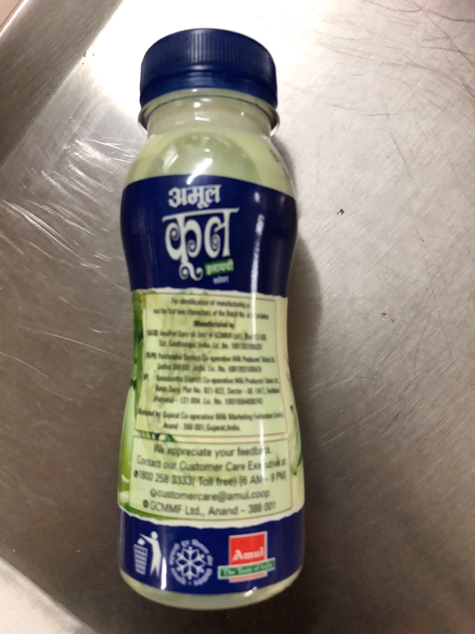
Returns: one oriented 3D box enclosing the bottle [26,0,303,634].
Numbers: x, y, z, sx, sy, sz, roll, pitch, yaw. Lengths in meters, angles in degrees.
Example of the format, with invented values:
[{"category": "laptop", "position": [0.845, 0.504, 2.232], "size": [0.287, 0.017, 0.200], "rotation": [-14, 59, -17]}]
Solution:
[{"category": "bottle", "position": [-0.011, 0.000, 0.118], "size": [0.050, 0.040, 0.150], "rotation": [0, 87, 7]}]
